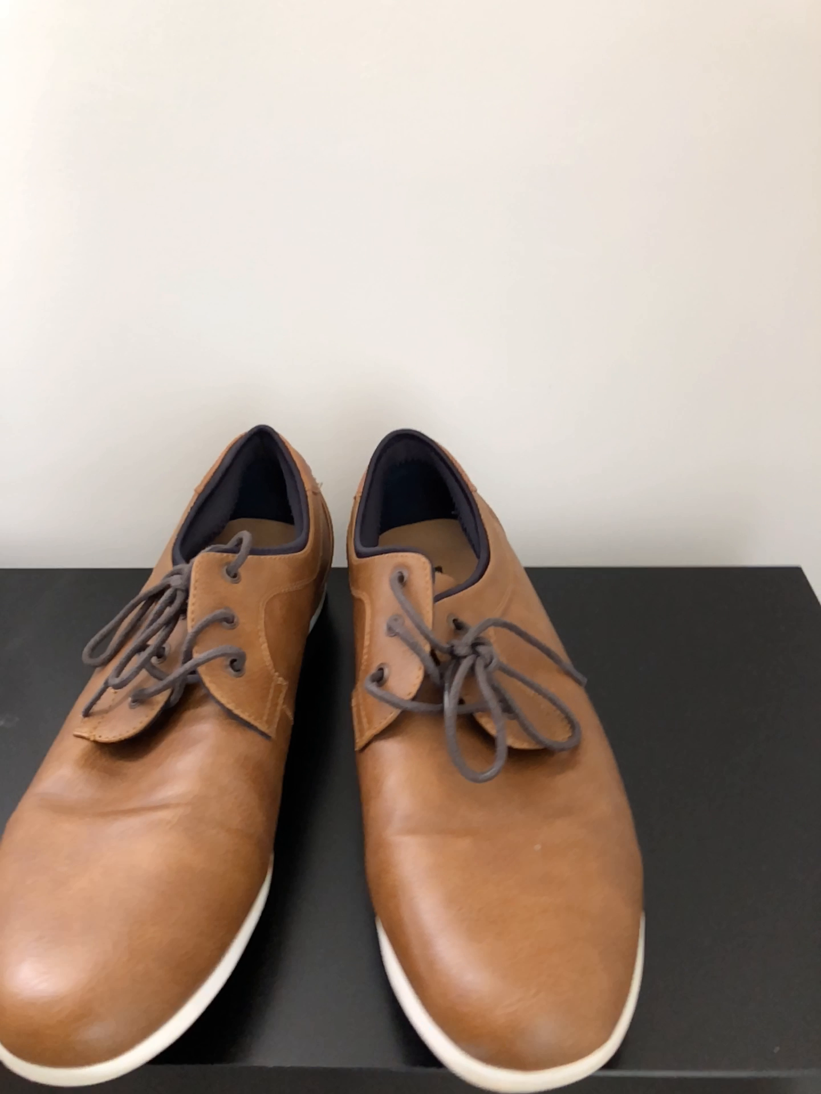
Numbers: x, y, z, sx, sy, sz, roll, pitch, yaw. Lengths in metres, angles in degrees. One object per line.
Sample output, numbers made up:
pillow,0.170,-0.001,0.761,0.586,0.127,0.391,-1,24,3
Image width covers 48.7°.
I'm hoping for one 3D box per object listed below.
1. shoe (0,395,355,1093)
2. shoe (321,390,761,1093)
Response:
shoe,-0.098,0.049,0.353,0.104,0.100,0.271,3,36,6
shoe,0.022,0.048,0.363,0.104,0.100,0.281,-4,36,-4
